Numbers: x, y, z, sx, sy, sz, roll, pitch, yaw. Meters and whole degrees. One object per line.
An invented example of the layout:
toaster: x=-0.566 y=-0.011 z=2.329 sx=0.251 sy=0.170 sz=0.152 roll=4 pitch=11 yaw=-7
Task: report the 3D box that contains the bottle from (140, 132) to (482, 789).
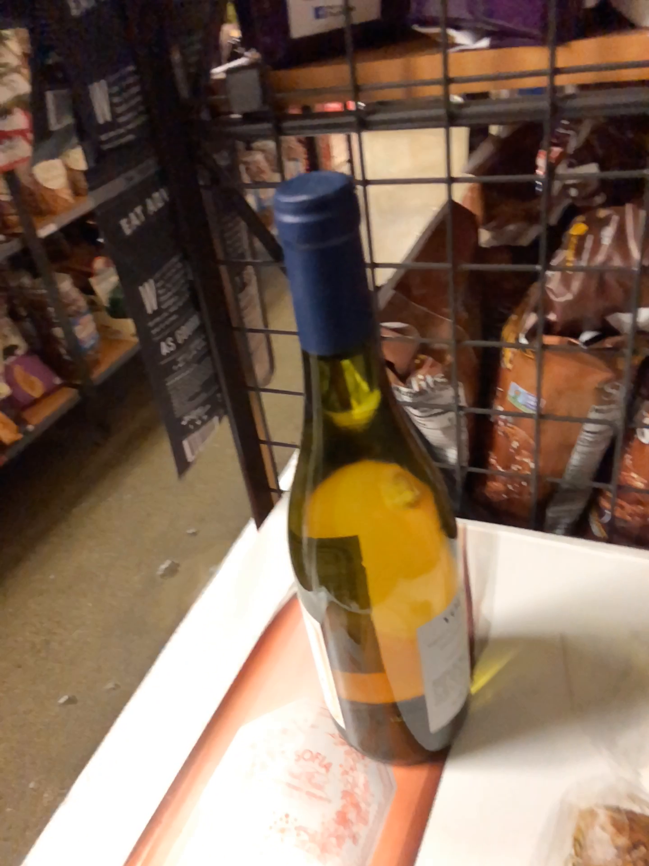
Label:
bottle: x=0.016 y=0.028 z=0.315 sx=0.084 sy=0.281 sz=0.084 roll=-6 pitch=34 yaw=4
